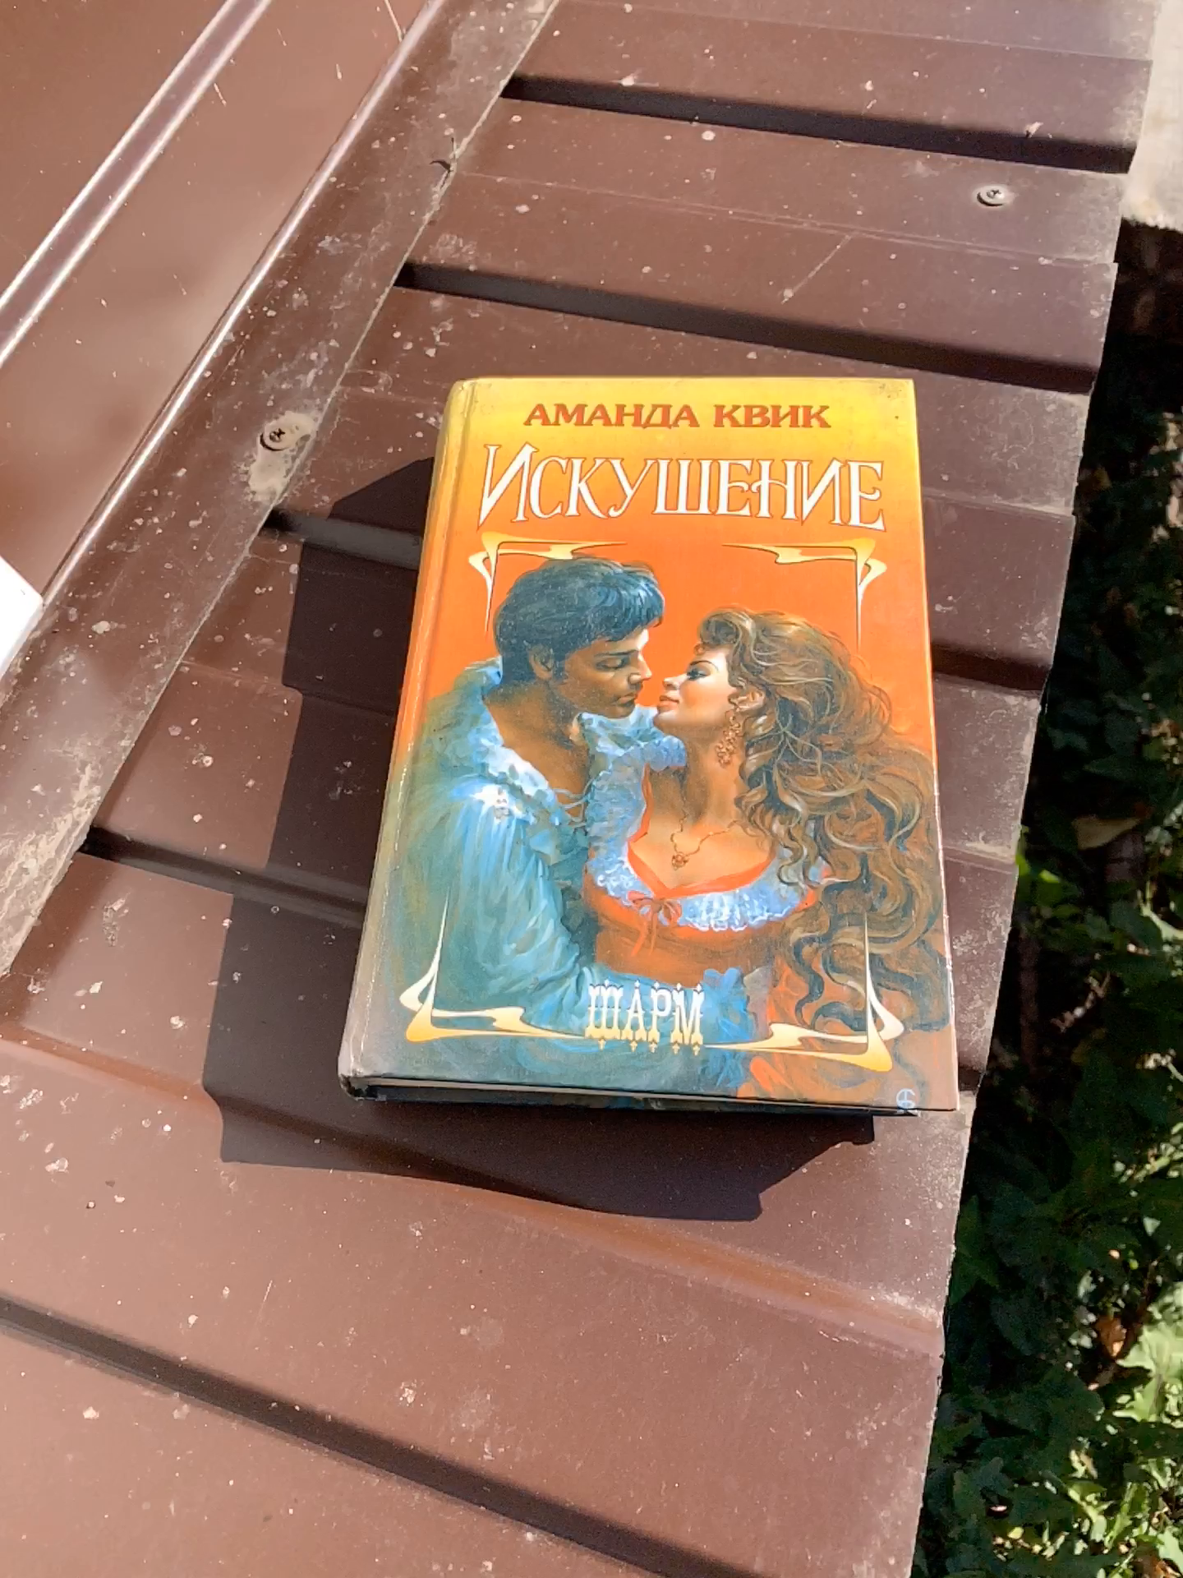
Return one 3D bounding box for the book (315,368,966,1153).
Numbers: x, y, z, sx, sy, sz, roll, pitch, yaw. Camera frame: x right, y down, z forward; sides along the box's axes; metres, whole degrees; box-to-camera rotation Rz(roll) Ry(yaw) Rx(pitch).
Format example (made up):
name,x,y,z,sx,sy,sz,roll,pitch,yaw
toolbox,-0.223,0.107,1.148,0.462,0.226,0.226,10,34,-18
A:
name,x,y,z,sx,sy,sz,roll,pitch,yaw
book,0.018,-0.020,0.304,0.134,0.024,0.200,2,65,6
